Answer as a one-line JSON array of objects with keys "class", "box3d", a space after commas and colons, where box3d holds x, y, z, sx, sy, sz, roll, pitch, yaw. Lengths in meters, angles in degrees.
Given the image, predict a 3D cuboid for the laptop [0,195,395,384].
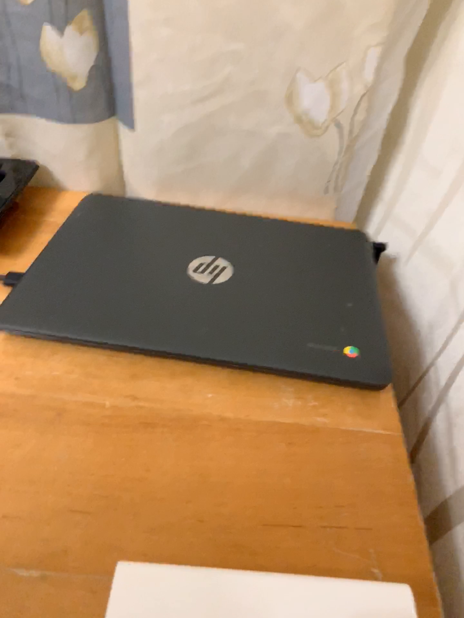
[{"class": "laptop", "box3d": [-0.017, -0.033, 0.402, 0.281, 0.002, 0.195, 8, 41, 4]}]
